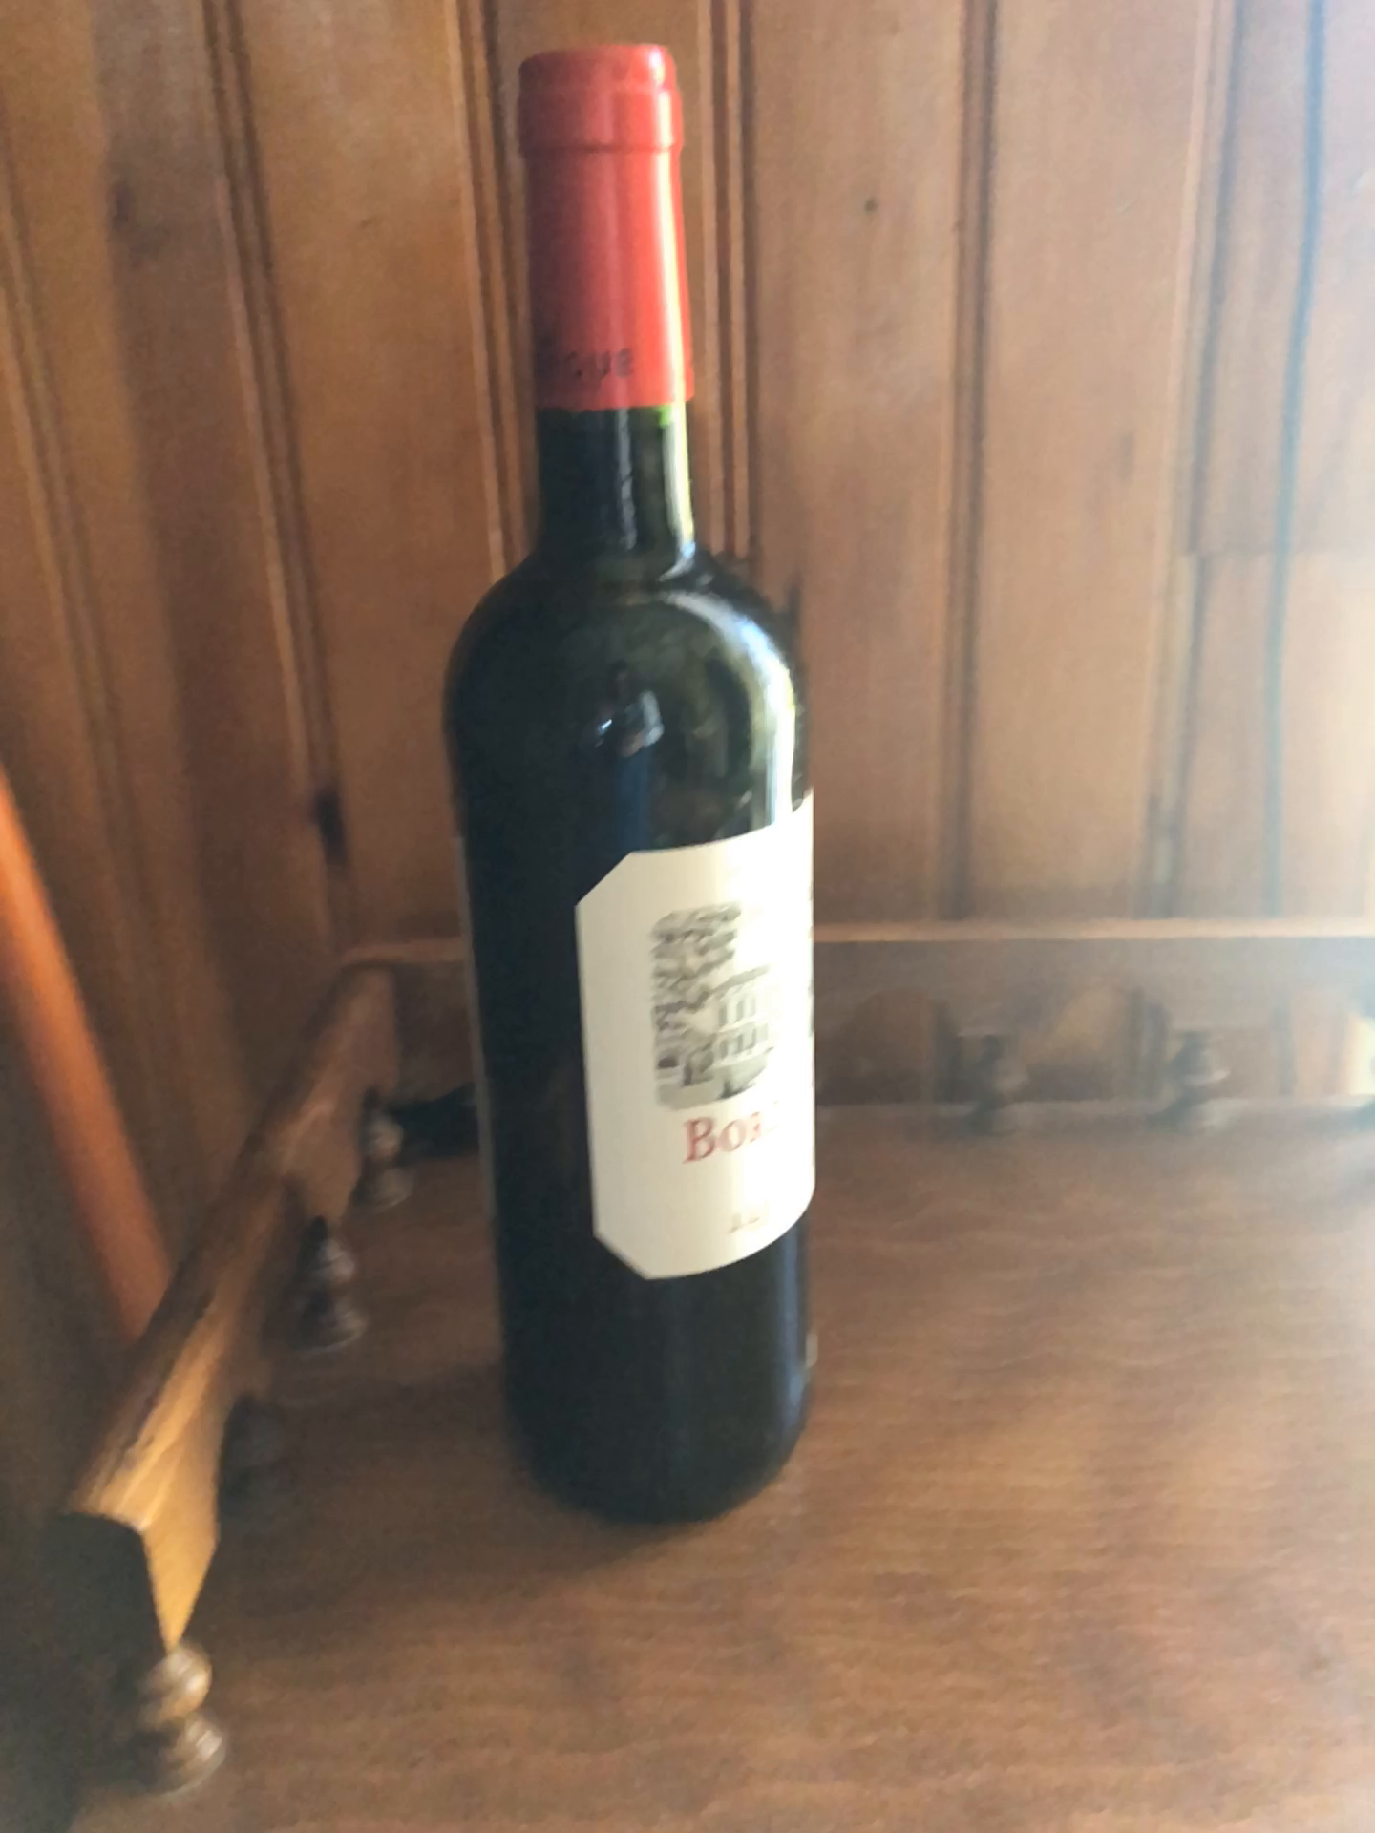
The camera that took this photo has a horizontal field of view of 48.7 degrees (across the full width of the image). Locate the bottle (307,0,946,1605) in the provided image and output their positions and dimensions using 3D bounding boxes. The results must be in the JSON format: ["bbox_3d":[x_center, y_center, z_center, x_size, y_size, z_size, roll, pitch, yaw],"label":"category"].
[{"bbox_3d":[-0.006,-0.012,0.328,0.080,0.308,0.080,-1,23,0],"label":"bottle"}]
